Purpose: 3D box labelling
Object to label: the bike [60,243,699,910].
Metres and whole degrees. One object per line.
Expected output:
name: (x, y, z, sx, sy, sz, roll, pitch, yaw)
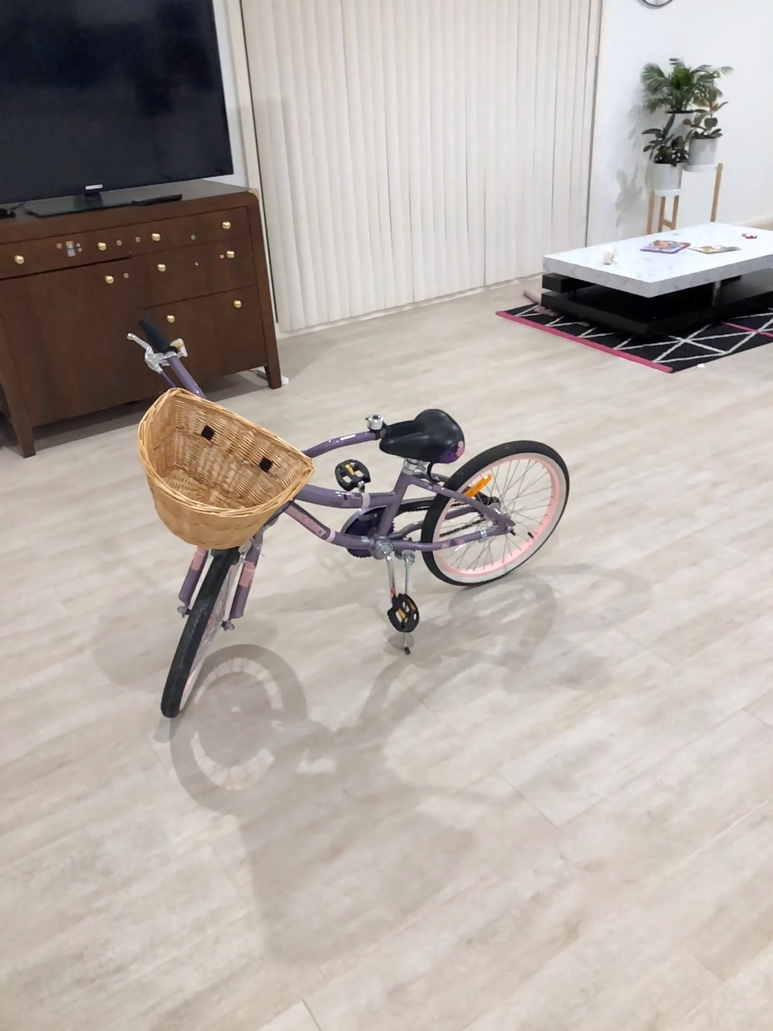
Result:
bike: (0.003, 0.015, 2.039, 1.218, 0.877, 0.749, -25, 35, -27)
